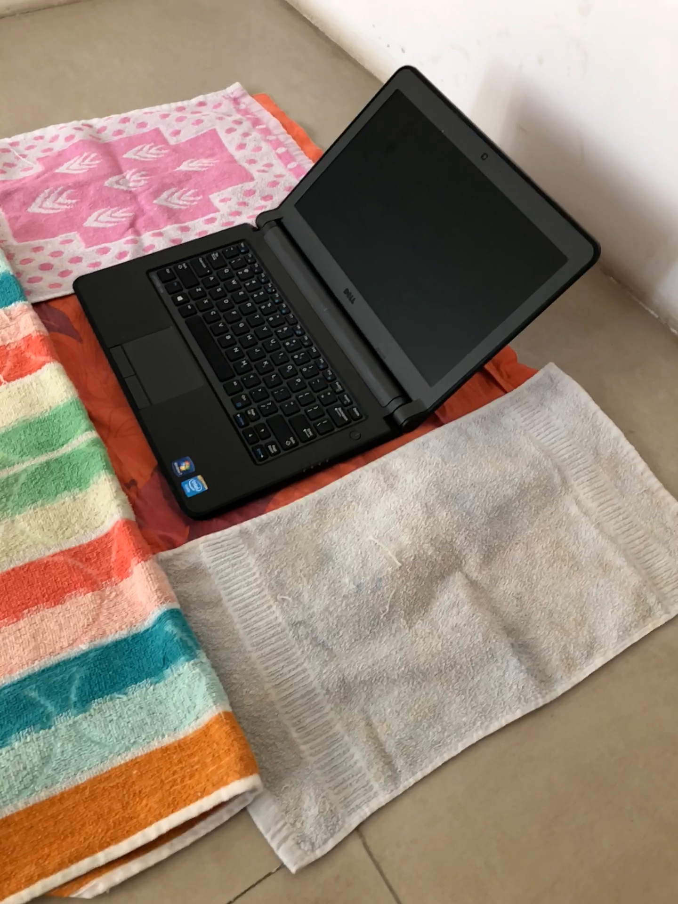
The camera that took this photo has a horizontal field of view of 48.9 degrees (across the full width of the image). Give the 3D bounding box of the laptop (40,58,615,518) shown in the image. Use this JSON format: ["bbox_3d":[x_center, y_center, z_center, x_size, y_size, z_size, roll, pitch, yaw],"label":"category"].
[{"bbox_3d":[-0.023,-0.176,0.701,0.392,0.143,0.314,-23,60,-16],"label":"laptop"}]
